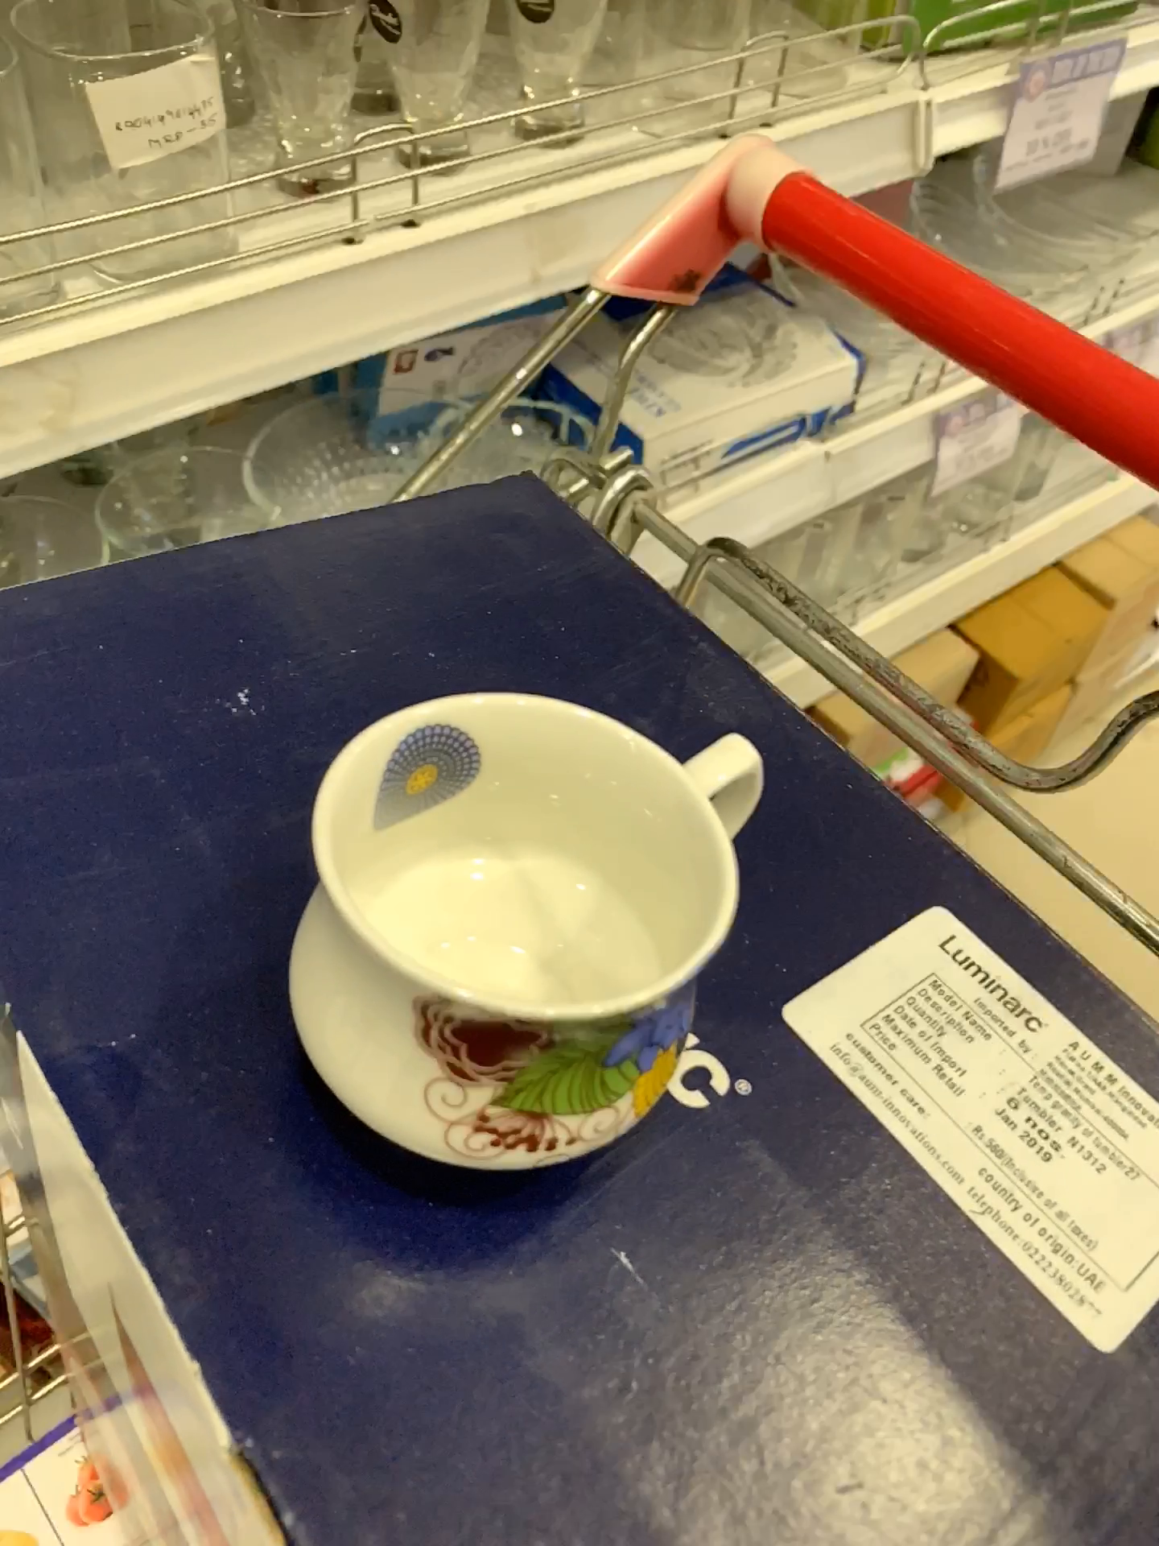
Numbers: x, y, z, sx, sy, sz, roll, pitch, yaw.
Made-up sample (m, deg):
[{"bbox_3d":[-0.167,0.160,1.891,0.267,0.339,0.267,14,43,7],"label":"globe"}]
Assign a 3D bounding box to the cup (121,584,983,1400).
[{"bbox_3d":[-0.004,0.023,0.165,0.090,0.050,0.060,-26,57,-33],"label":"cup"}]
